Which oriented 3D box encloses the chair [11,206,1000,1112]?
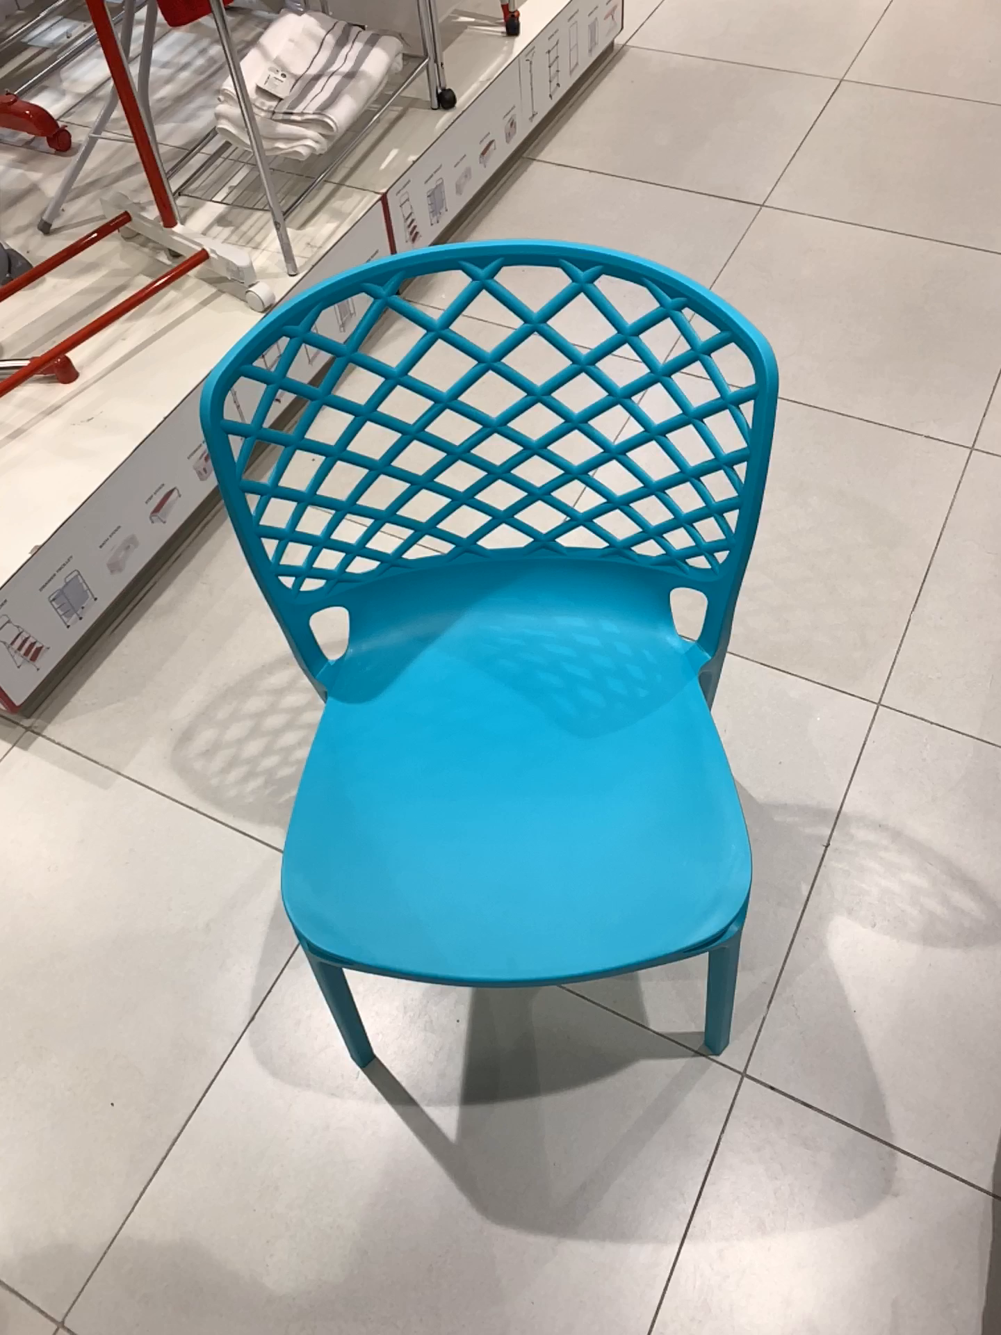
[{"bbox_3d":[0.030,0.074,1.036,0.560,0.798,0.521,-3,54,3],"label":"chair"}]
